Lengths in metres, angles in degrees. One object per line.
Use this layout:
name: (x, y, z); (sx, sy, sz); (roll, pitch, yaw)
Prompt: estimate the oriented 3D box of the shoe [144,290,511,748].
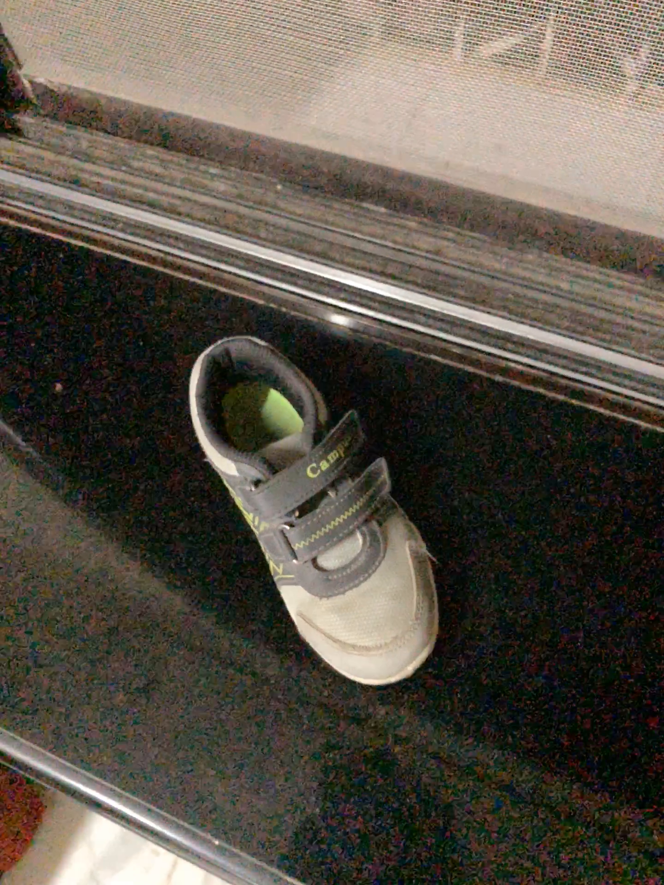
shoe: (-0.010, 0.038, 0.390); (0.090, 0.080, 0.231); (-28, 66, -8)
